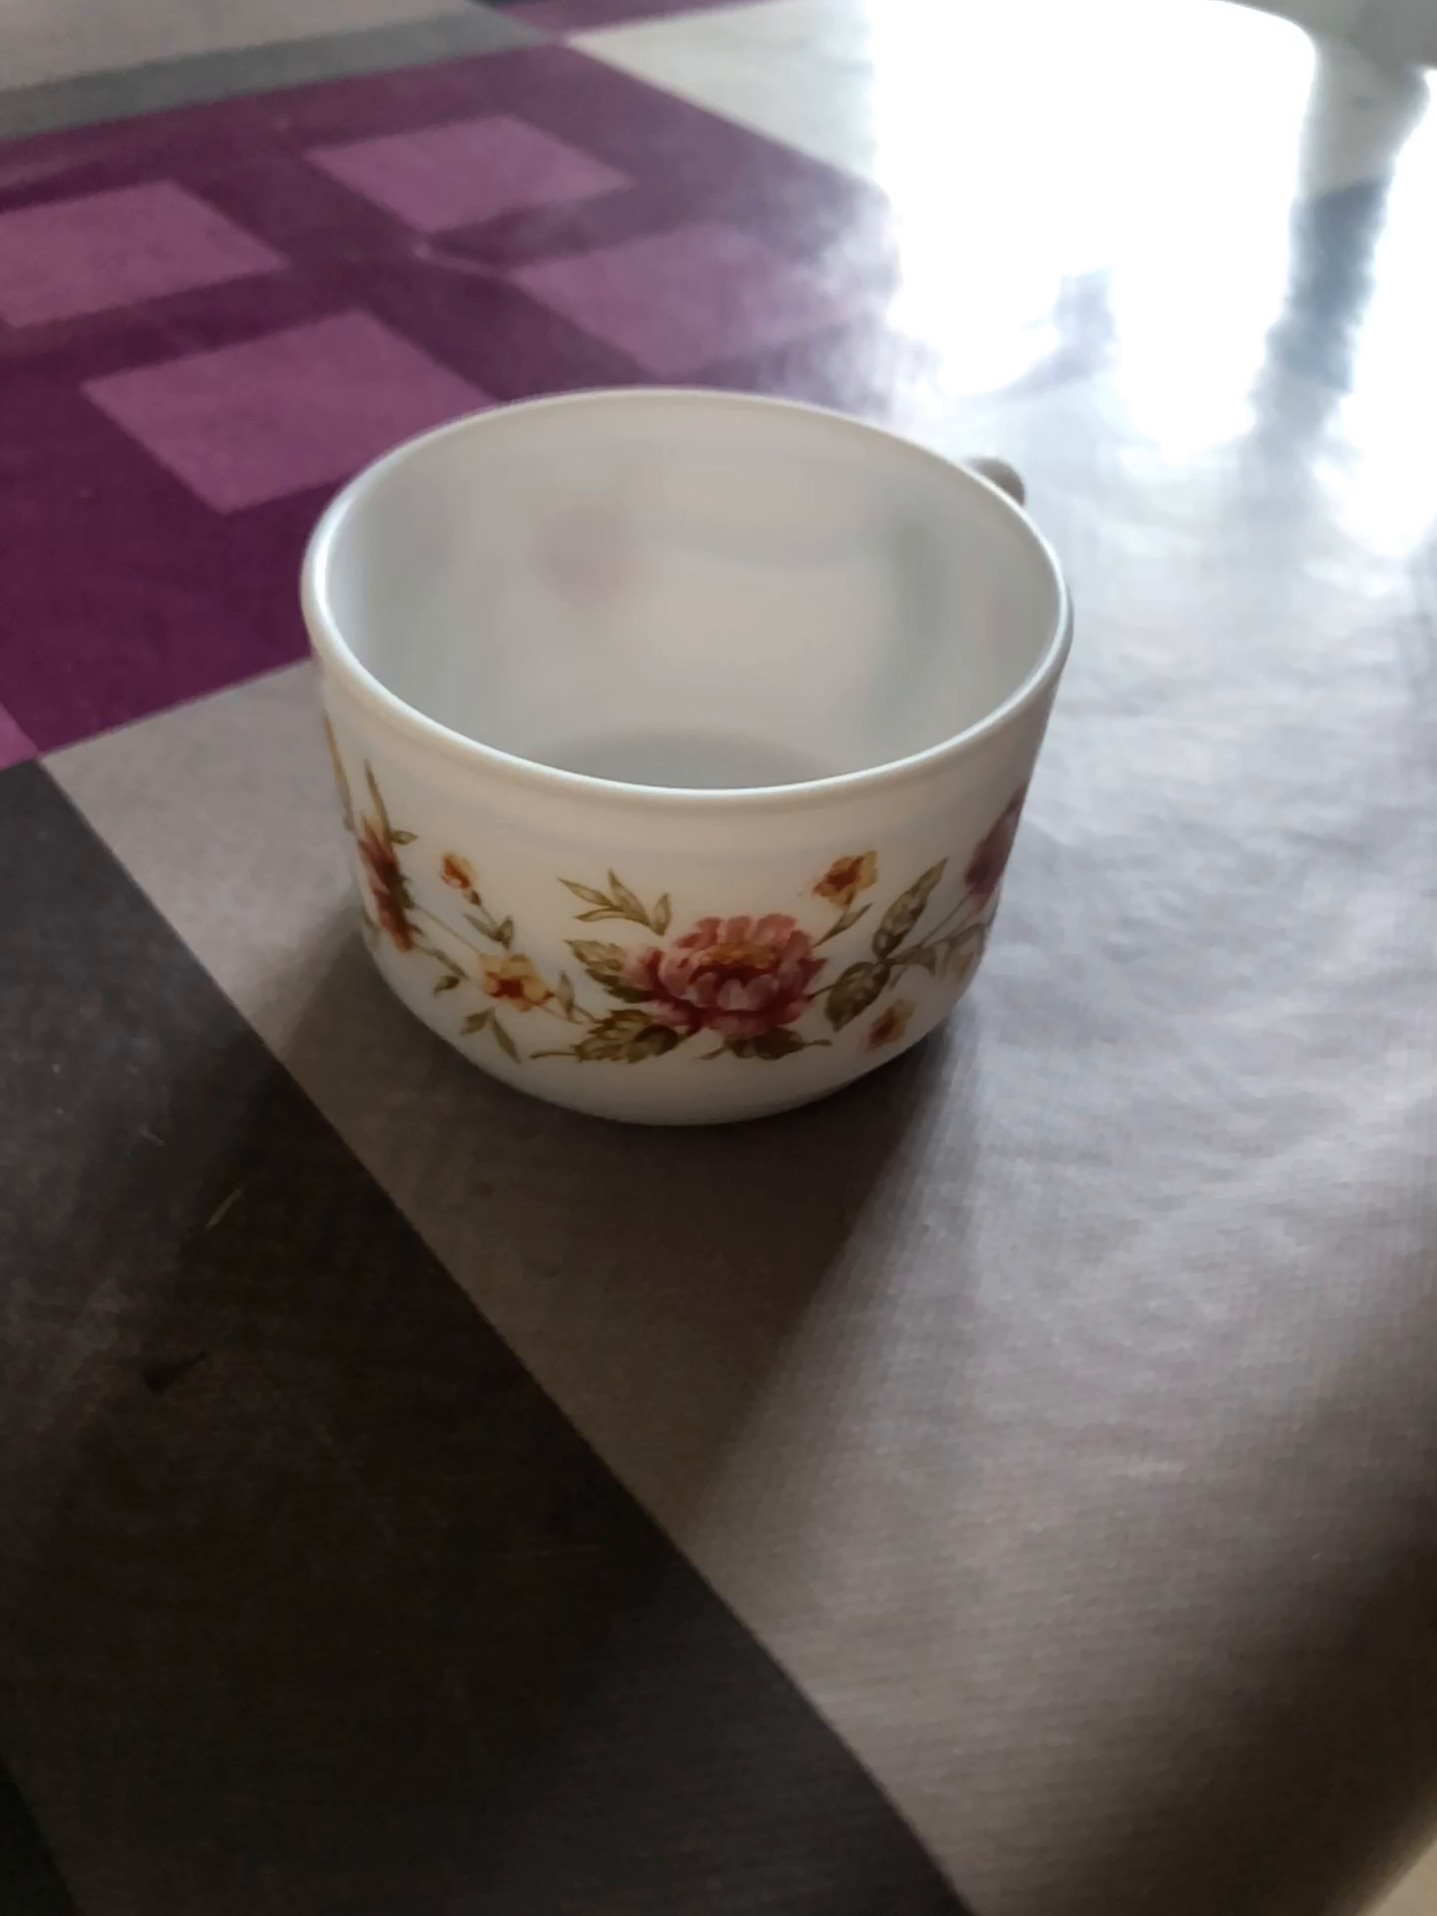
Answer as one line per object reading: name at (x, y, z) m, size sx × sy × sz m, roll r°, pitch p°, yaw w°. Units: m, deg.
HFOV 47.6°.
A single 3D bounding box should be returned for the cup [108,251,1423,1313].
cup at (0.006, -0.030, 0.184) m, size 0.111 × 0.050 × 0.080 m, roll -30°, pitch 53°, yaw -30°
